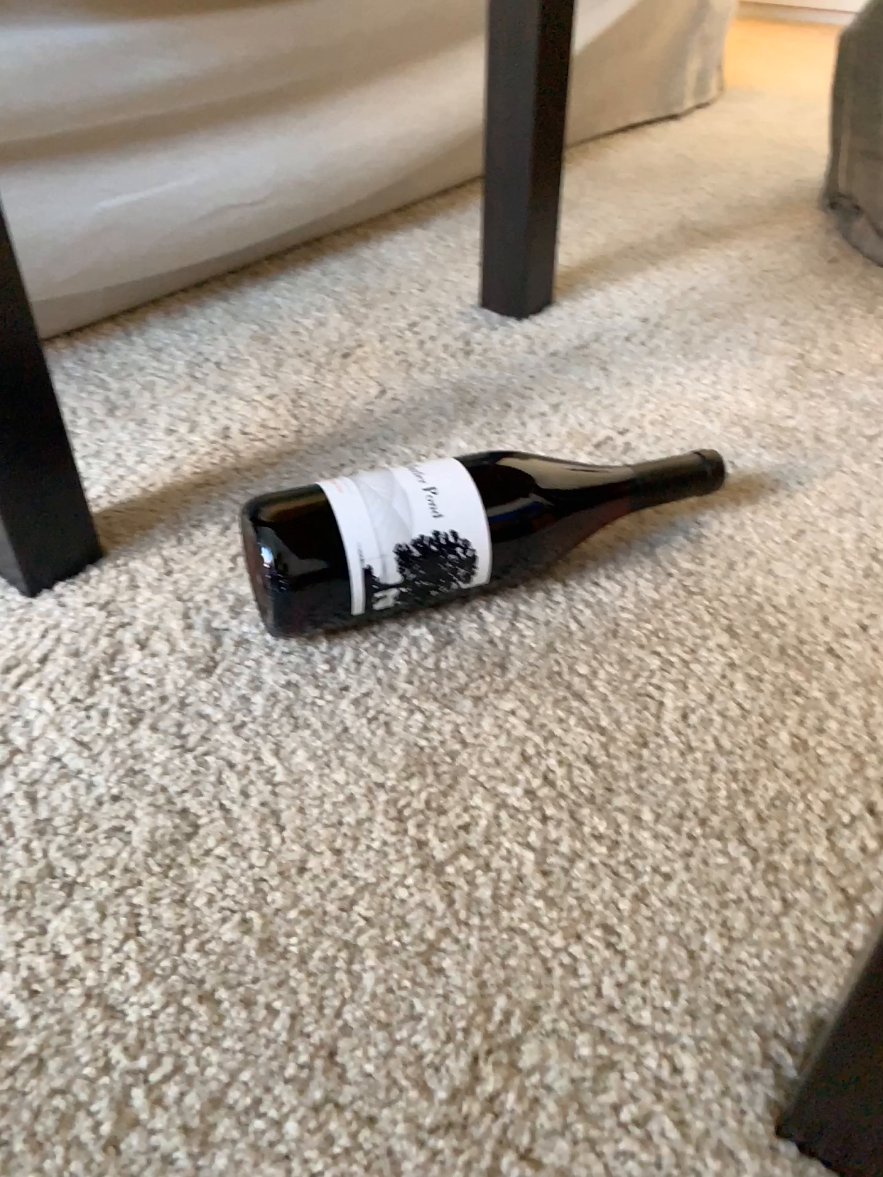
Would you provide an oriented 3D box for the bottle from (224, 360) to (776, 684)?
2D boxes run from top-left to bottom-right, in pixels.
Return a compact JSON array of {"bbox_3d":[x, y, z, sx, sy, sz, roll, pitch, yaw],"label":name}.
[{"bbox_3d":[0.032,-0.041,0.505,0.280,0.080,0.080,-16,61,-15],"label":"bottle"}]
